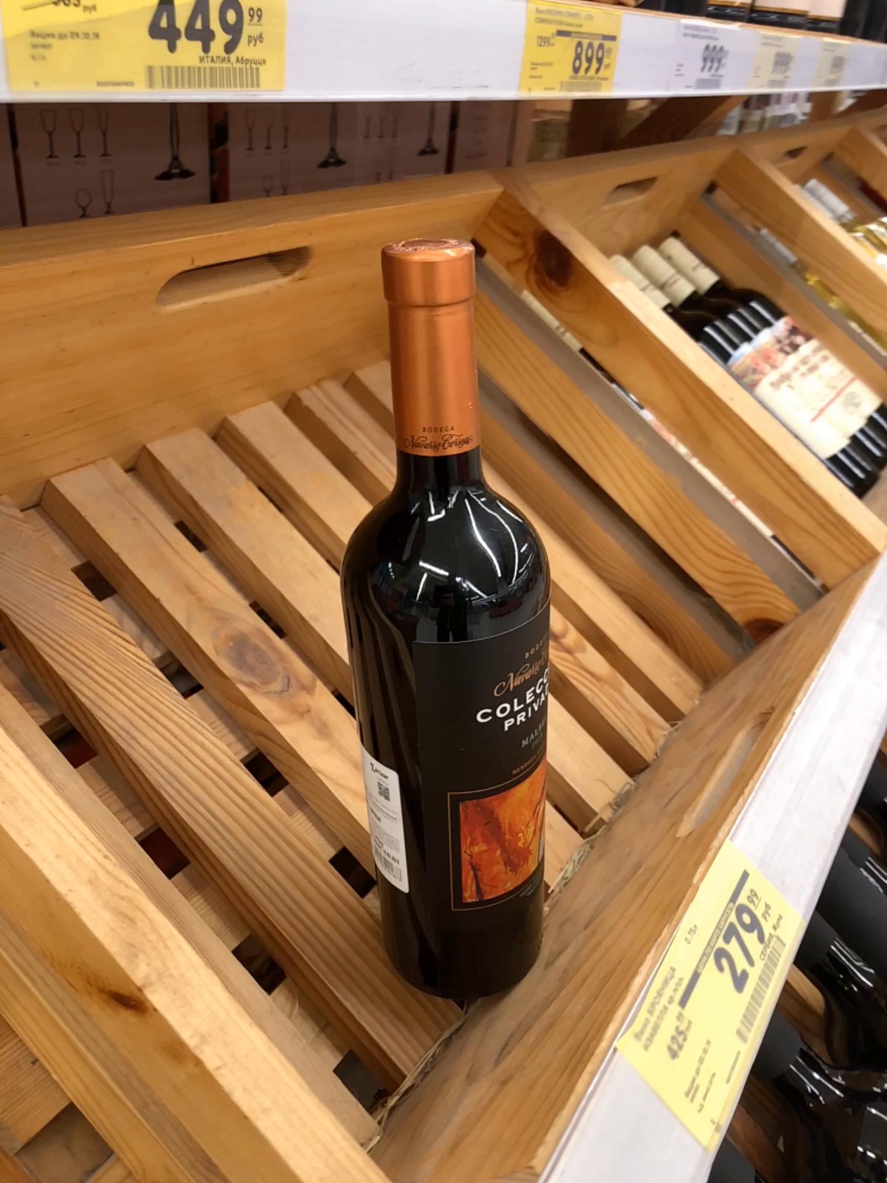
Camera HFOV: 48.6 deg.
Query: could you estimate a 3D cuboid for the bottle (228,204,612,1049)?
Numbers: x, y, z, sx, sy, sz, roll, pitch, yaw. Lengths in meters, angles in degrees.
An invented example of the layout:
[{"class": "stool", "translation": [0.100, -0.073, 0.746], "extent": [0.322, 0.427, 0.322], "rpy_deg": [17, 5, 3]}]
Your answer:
[{"class": "bottle", "translation": [0.004, 0.018, 0.359], "extent": [0.080, 0.288, 0.087], "rpy_deg": [-3, 27, 2]}]
